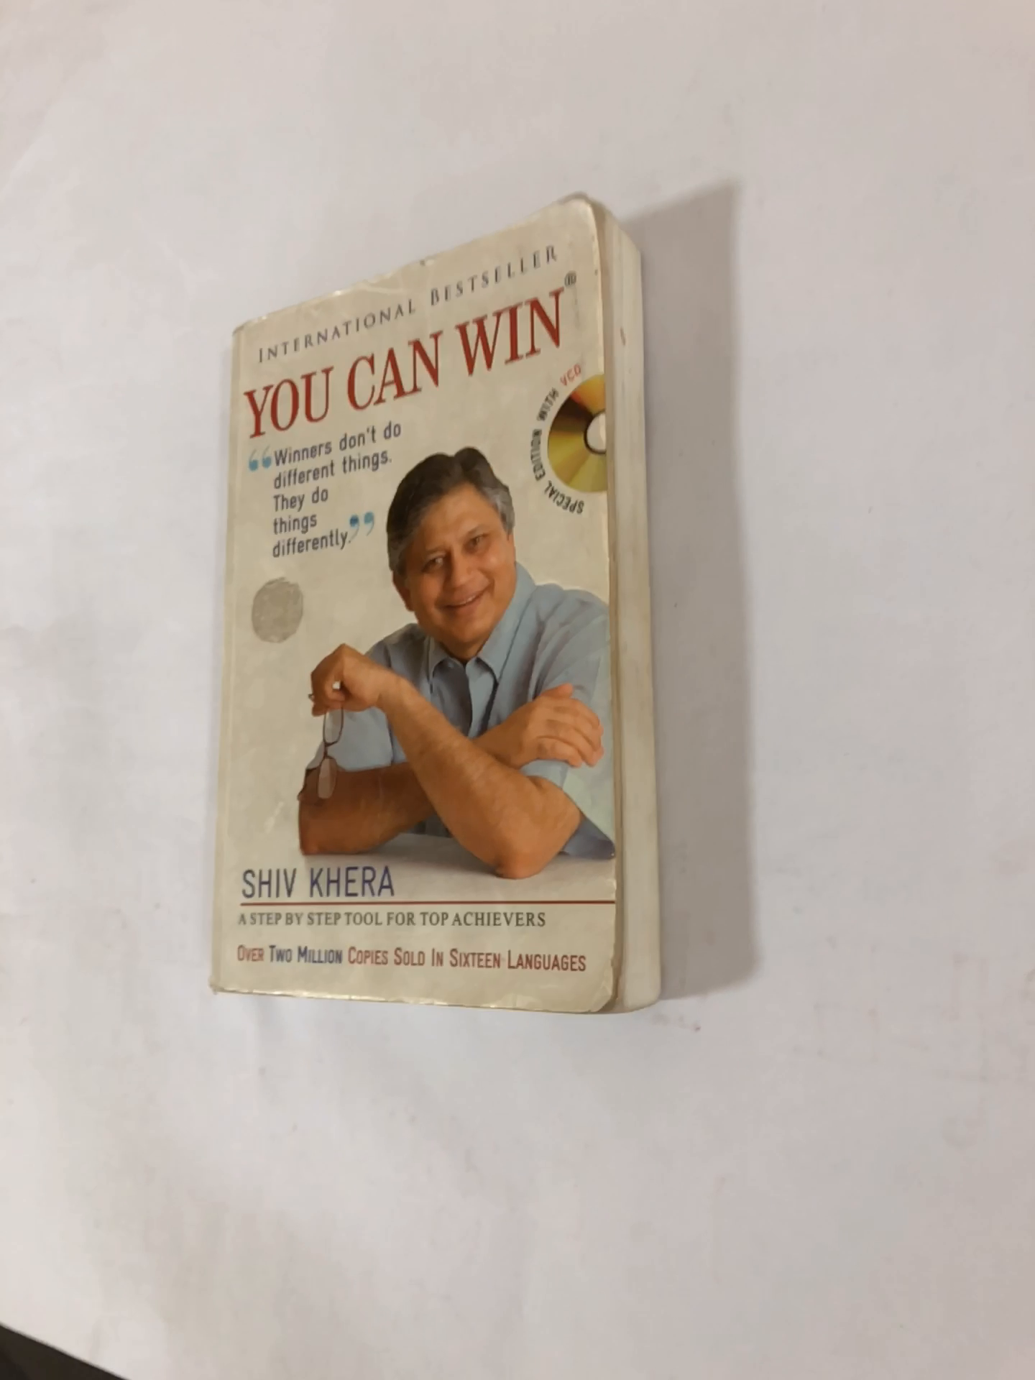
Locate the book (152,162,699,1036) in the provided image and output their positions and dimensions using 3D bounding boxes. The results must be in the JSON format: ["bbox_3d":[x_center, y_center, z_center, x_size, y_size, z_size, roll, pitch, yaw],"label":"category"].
[{"bbox_3d":[-0.032,-0.018,0.326,0.151,0.040,0.210,-7,79,31],"label":"book"}]
